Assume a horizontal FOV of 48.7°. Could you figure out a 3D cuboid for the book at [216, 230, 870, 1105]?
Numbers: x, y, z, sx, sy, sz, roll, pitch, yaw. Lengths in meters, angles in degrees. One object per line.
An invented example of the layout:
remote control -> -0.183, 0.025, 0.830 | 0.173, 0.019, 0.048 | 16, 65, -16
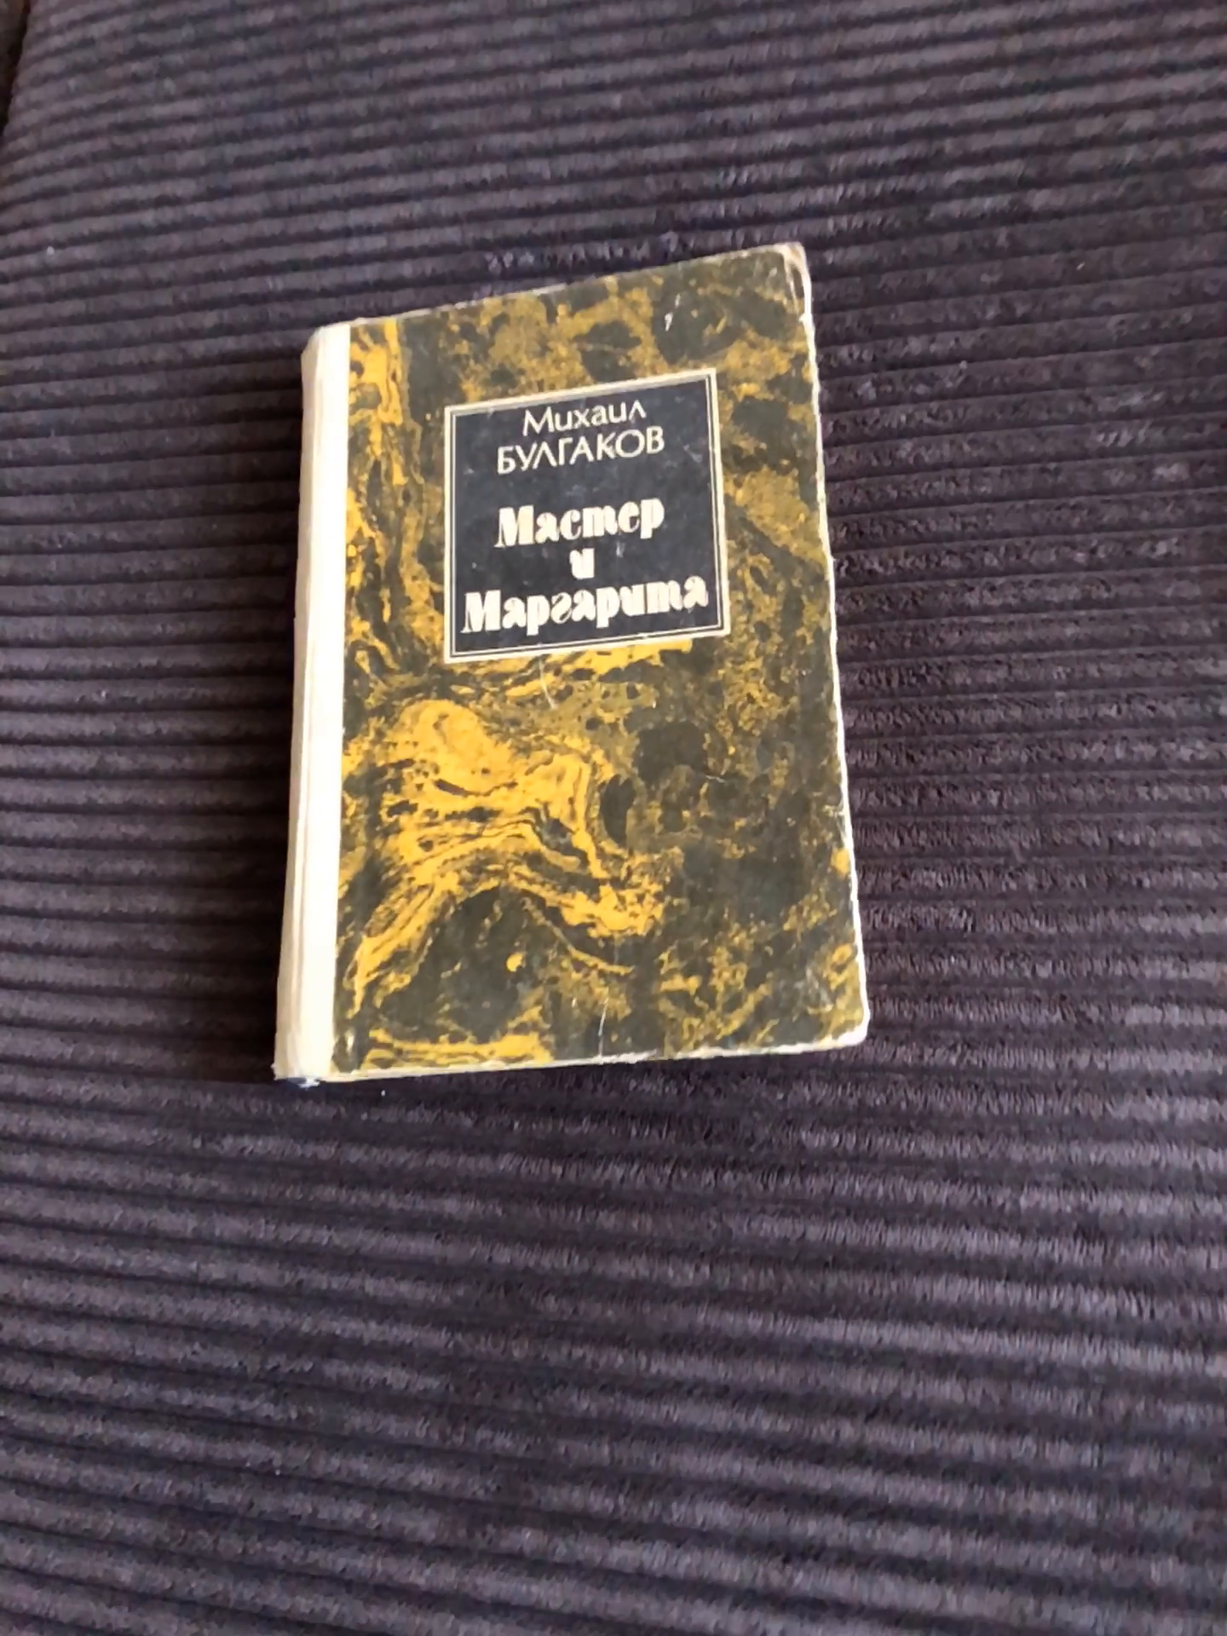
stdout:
book -> -0.021, -0.041, 0.362 | 0.154, 0.035, 0.220 | -6, 72, 11
